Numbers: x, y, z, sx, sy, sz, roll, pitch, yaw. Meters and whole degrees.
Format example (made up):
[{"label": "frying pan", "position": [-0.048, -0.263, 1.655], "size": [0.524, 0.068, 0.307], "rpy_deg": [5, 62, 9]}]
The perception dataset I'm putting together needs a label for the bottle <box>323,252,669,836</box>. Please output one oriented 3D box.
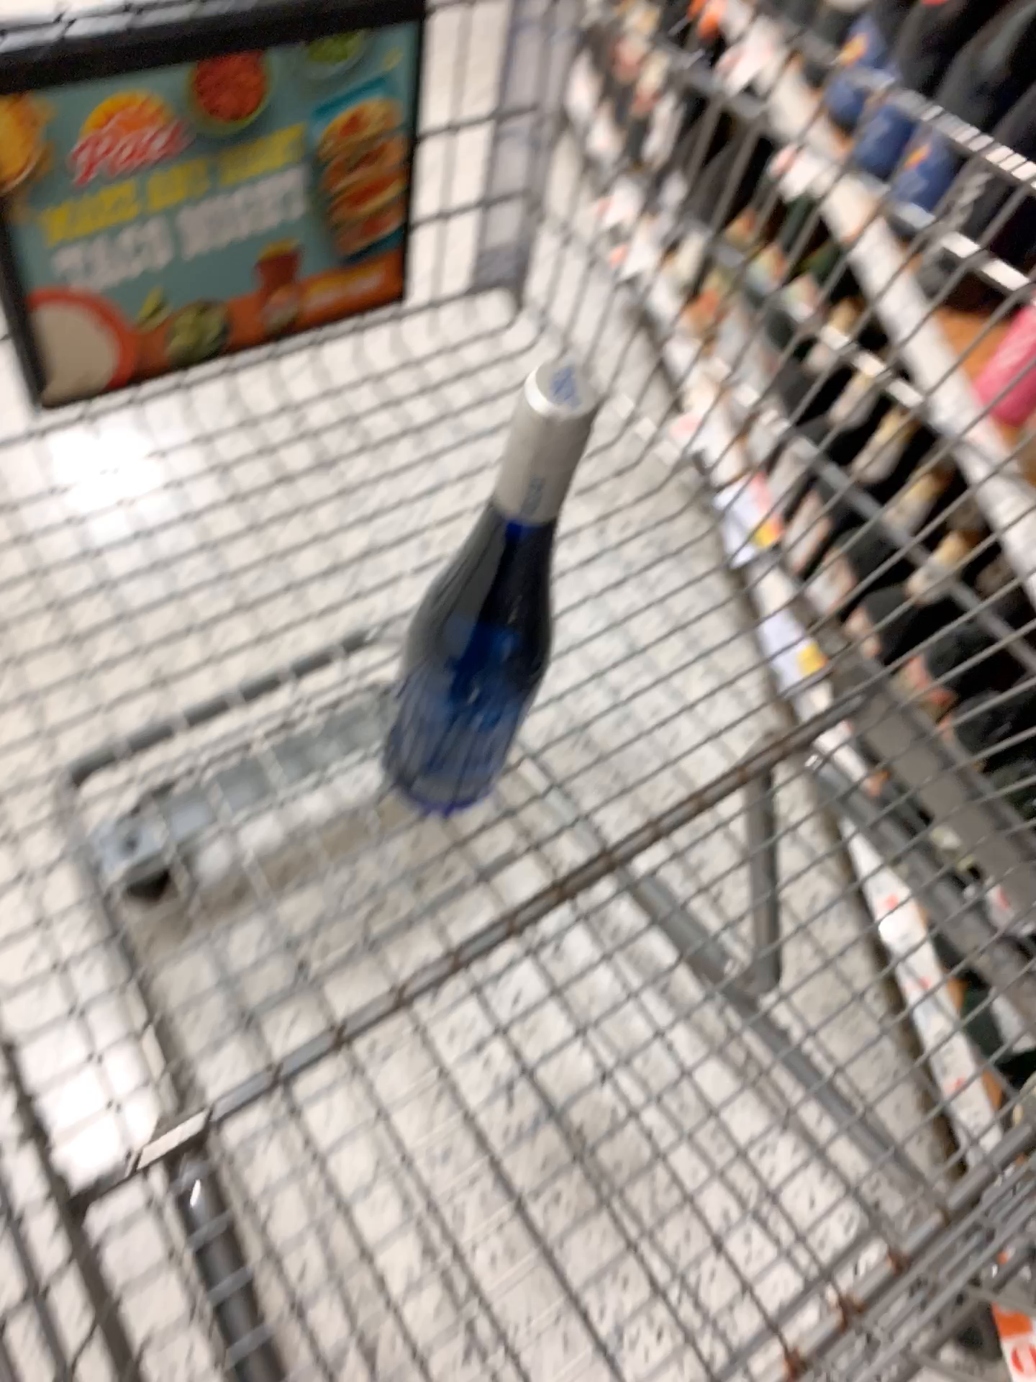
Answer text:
[{"label": "bottle", "position": [-0.031, -0.046, 0.527], "size": [0.090, 0.307, 0.090], "rpy_deg": [5, 59, -8]}]
